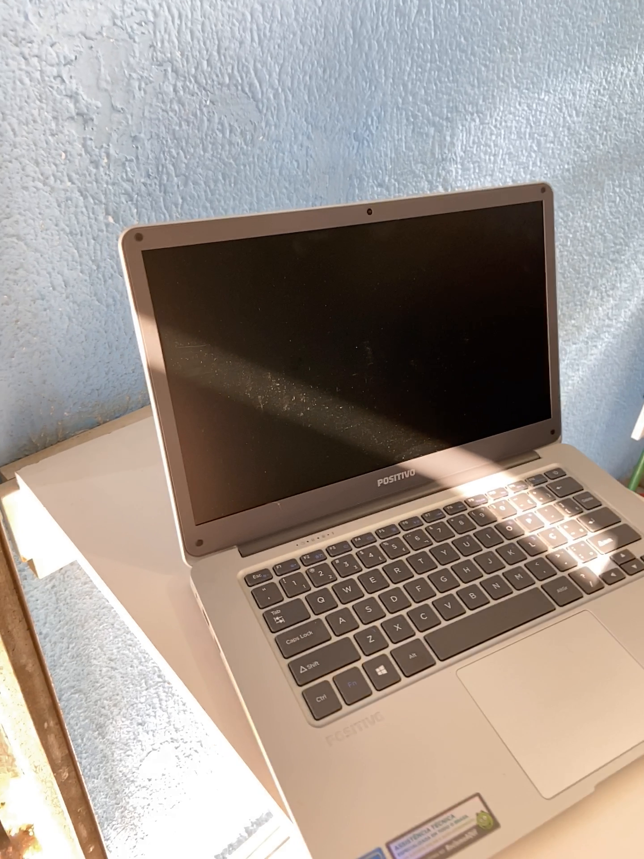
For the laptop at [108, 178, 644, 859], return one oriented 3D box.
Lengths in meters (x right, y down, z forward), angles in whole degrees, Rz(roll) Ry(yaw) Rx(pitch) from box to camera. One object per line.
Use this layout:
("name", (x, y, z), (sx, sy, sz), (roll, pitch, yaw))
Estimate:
("laptop", (0.093, 0.006, 0.395), (0.333, 0.189, 0.312), (-15, 41, -24))
